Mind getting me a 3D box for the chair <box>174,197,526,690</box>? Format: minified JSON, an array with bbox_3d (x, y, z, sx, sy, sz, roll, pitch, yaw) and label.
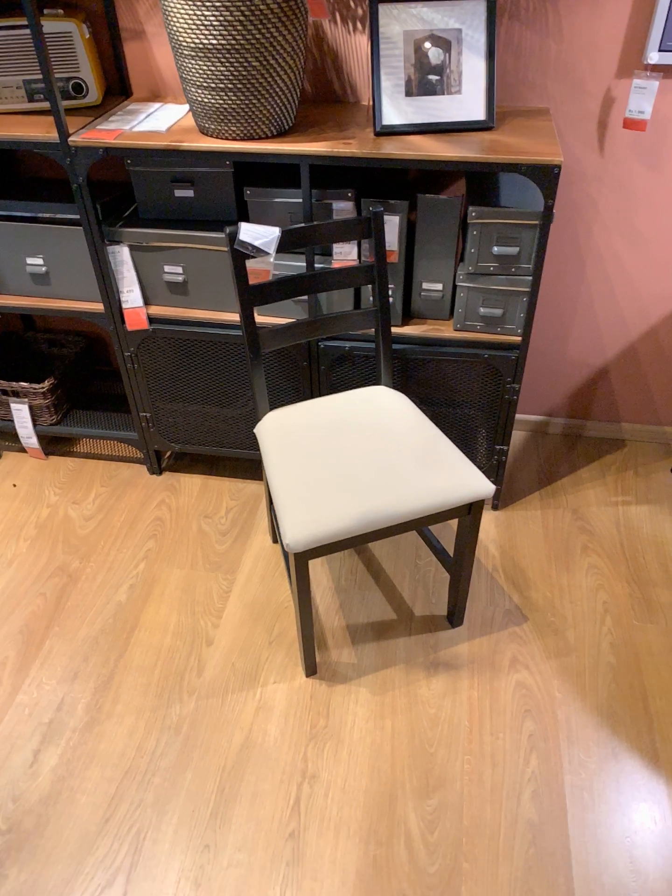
[{"bbox_3d":[-0.003,-0.009,1.405,0.430,0.767,0.542,-14,42,-14],"label":"chair"}]
